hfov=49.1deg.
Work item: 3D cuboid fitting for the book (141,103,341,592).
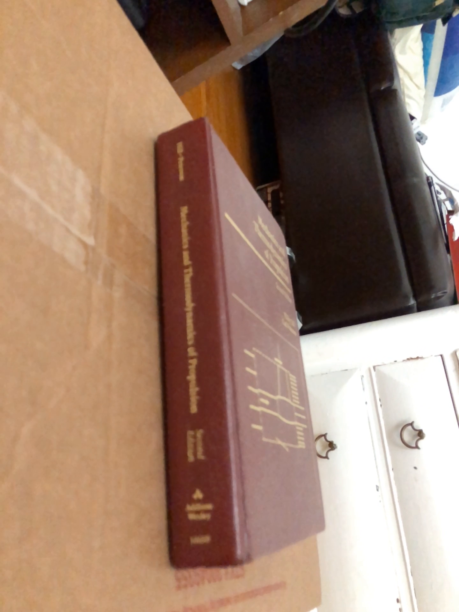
[{"bbox_3d":[0.014,0.031,0.325,0.191,0.040,0.240,40,41,-60],"label":"book"}]
